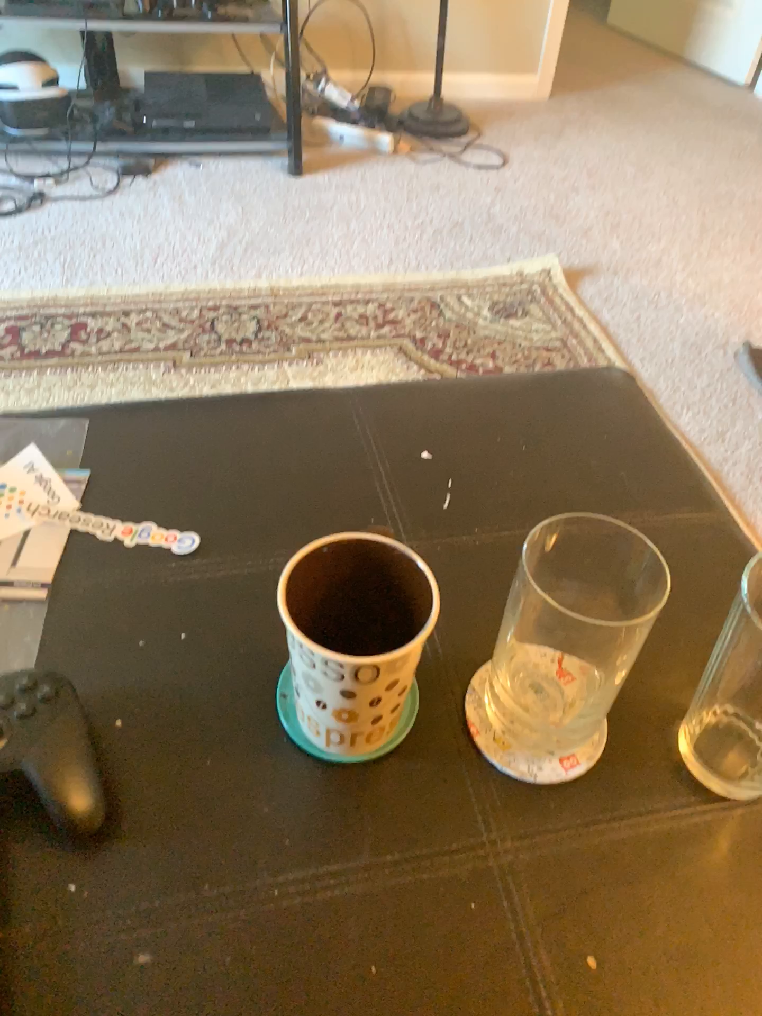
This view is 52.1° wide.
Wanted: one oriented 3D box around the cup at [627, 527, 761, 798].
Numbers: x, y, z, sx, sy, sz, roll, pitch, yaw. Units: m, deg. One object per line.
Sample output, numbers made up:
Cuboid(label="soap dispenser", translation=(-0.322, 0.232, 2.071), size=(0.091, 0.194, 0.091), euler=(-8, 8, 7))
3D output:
Cuboid(label="cup", translation=(0.204, 0.089, 0.426), size=(0.080, 0.139, 0.080), euler=(3, 45, -3))

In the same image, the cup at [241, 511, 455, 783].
Cuboid(label="cup", translation=(-0.016, 0.076, 0.426), size=(0.090, 0.099, 0.091), euler=(3, 45, -3))

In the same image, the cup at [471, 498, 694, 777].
Cuboid(label="cup", translation=(0.098, 0.073, 0.420), size=(0.080, 0.129, 0.080), euler=(3, 45, -3))
